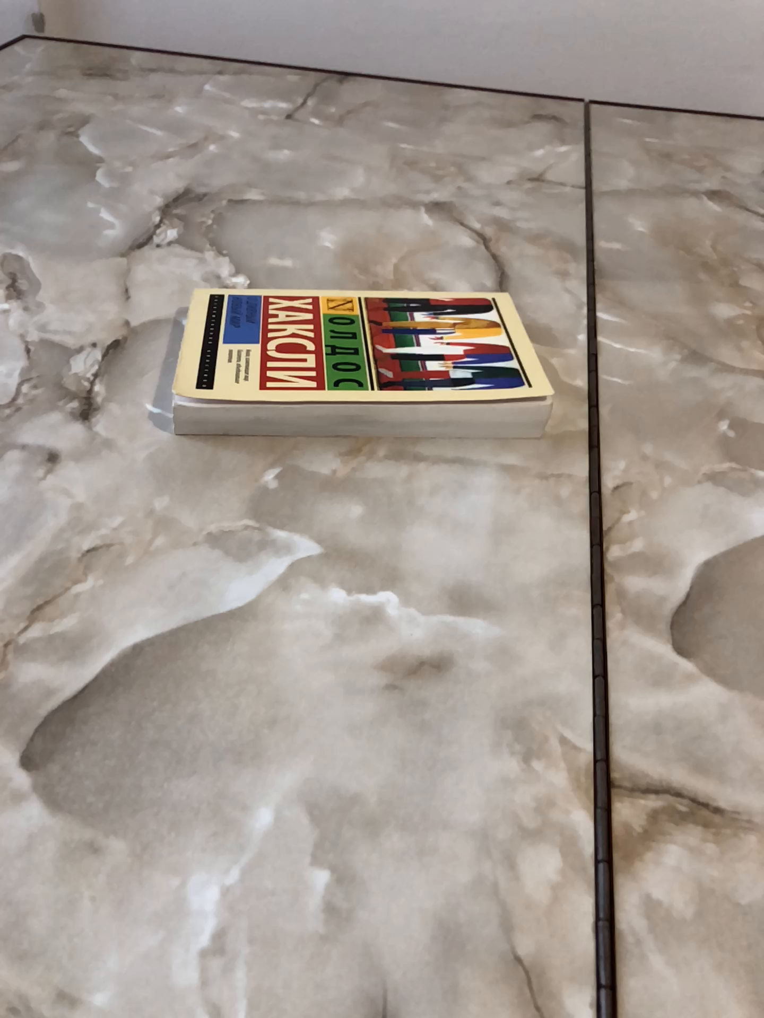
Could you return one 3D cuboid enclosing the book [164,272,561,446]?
[{"bbox_3d":[-0.011,-0.082,0.443,0.183,0.028,0.121,0,42,-4],"label":"book"}]
